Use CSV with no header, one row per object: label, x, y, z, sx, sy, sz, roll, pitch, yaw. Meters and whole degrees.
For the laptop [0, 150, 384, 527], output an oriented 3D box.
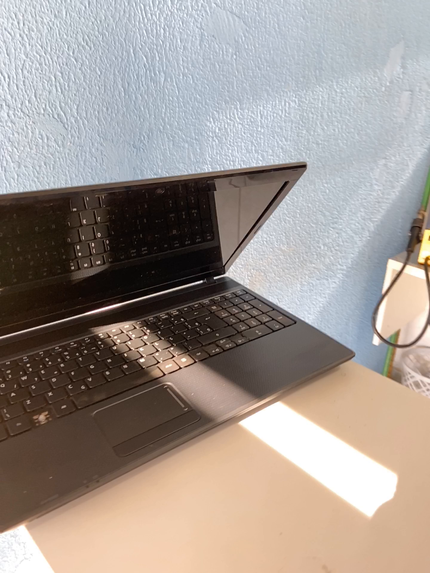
laptop,-0.063,-0.012,0.452,0.377,0.191,0.248,-16,30,-33
